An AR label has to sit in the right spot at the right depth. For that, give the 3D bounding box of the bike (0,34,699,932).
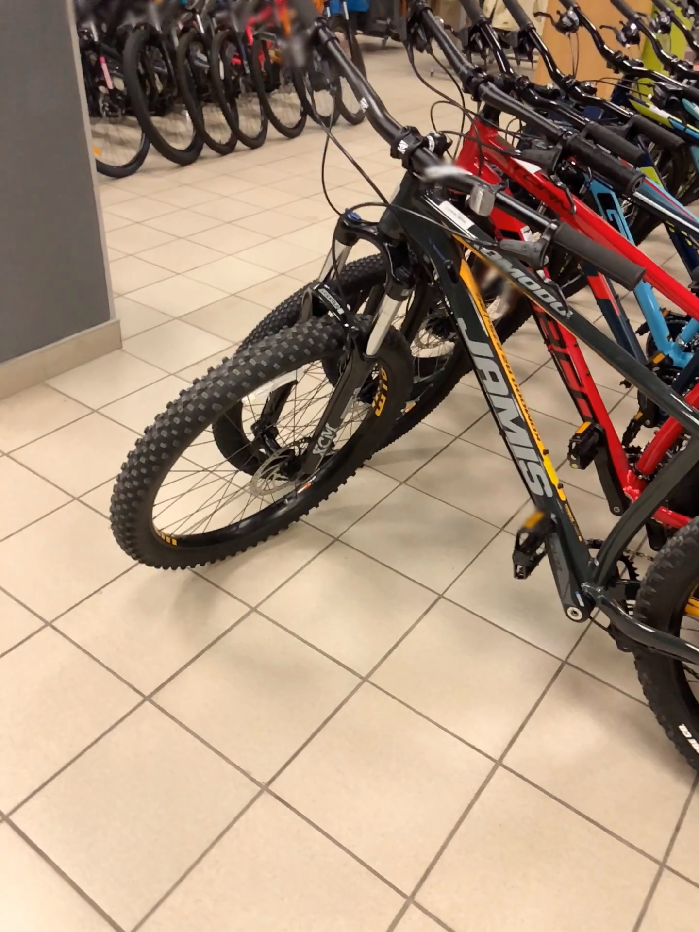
[{"bbox_3d":[0.348,0.108,1.106,1.543,1.165,0.811,16,37,20],"label":"bike"}]
